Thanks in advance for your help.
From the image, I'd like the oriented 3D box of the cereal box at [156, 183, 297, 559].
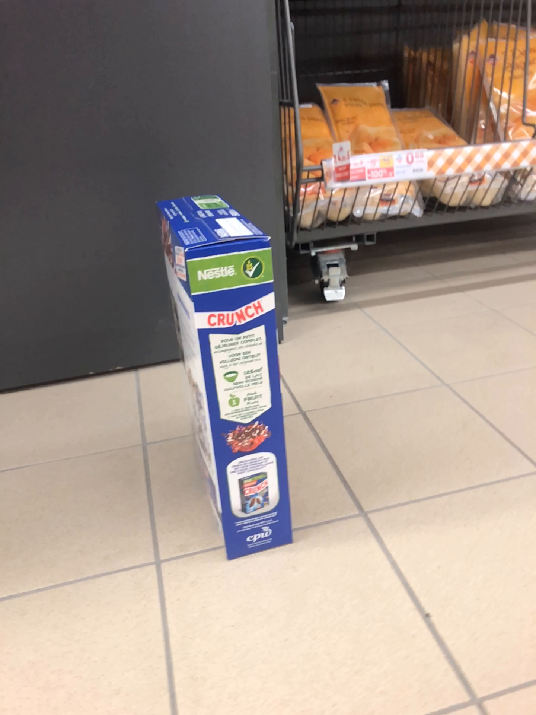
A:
[{"bbox_3d":[-0.040,0.003,0.551,0.070,0.288,0.191,-9,26,-13],"label":"cereal box"}]
